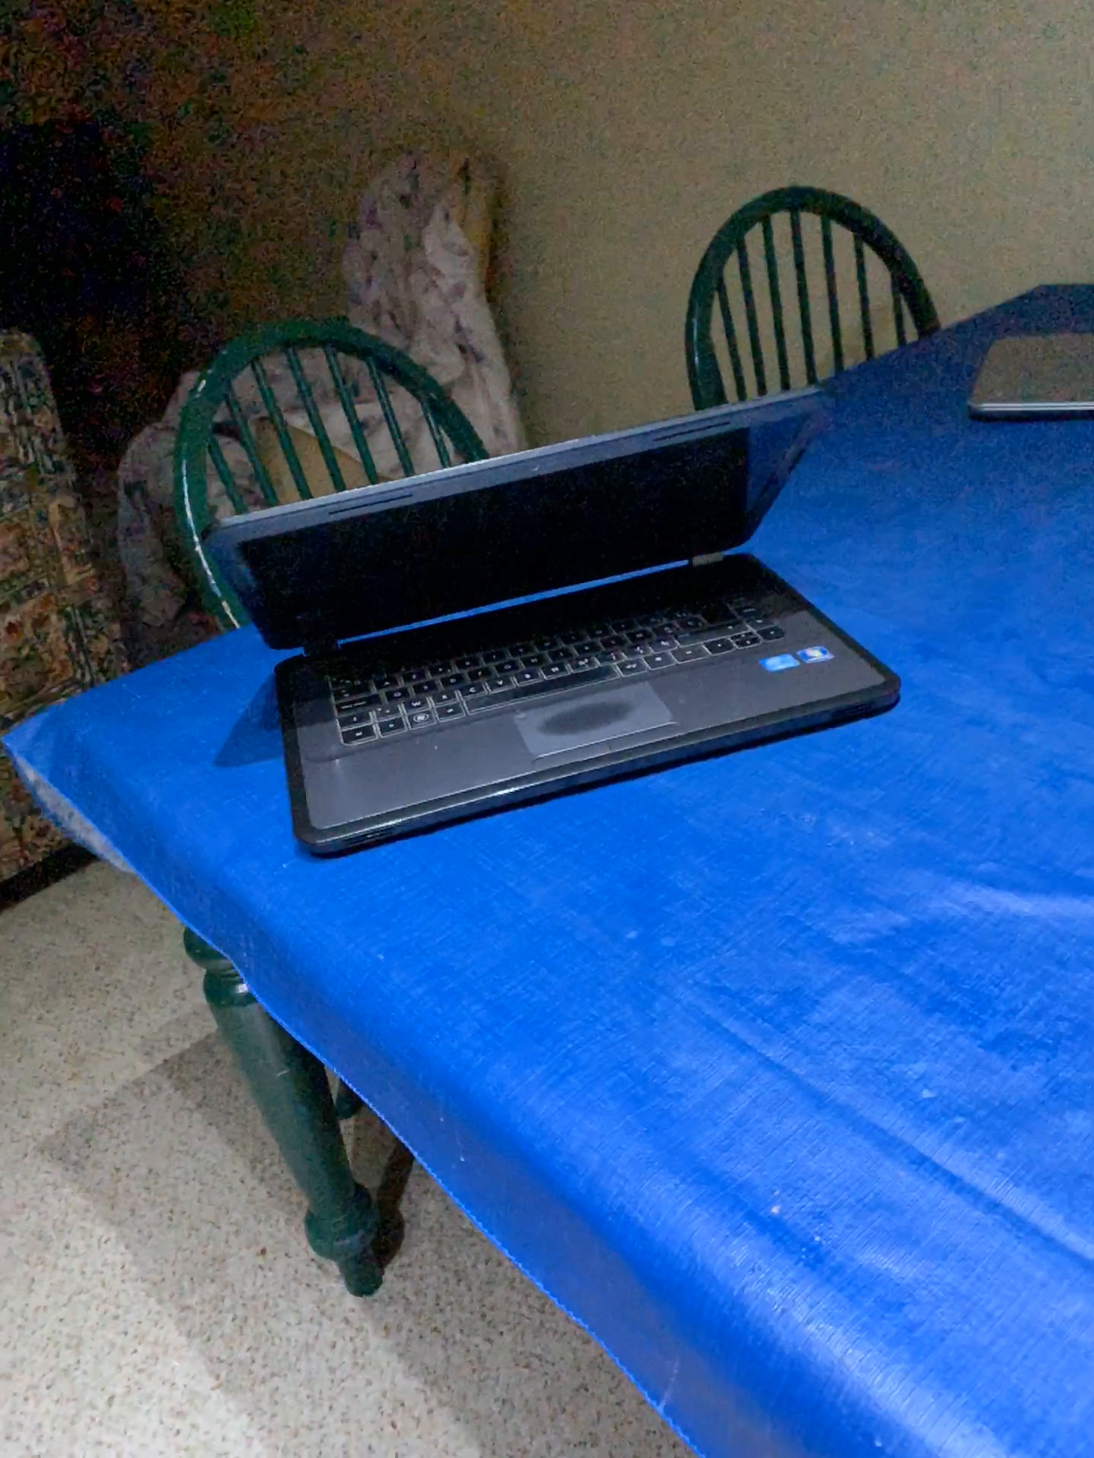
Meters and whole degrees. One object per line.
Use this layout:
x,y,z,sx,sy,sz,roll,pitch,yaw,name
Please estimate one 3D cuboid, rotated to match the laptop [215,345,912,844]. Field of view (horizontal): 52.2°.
-0.001,-0.105,0.697,0.361,0.160,0.245,-14,29,-9,laptop
